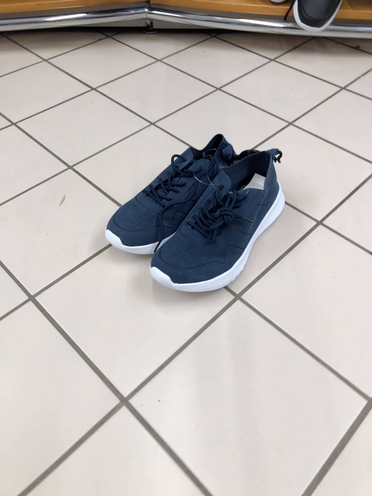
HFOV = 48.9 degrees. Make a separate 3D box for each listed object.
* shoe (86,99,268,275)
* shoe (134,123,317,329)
[{"bbox_3d":[-0.001,-0.106,0.634,0.100,0.109,0.291,32,56,25],"label":"shoe"},{"bbox_3d":[0.065,-0.045,0.586,0.100,0.119,0.291,29,55,23],"label":"shoe"}]
